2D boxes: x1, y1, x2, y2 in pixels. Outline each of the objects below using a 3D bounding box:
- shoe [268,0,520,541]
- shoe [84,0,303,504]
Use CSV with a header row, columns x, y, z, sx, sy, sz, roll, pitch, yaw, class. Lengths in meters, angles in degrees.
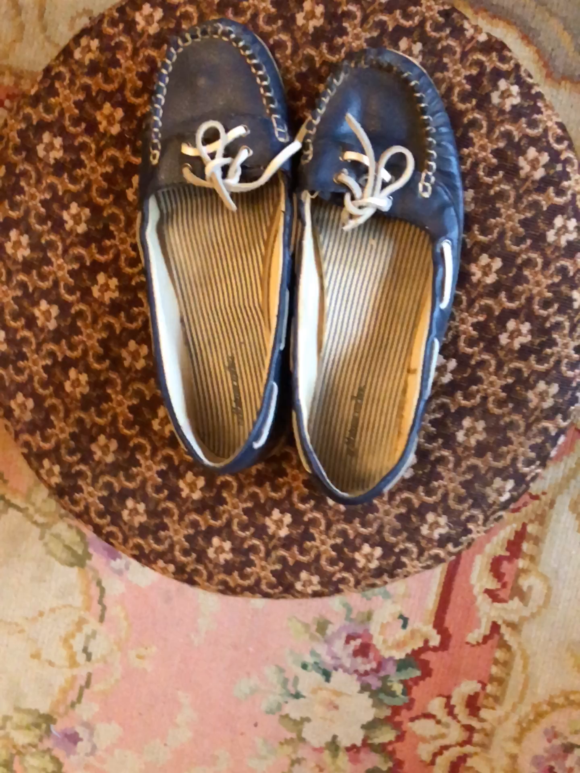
x,y,z,sx,sy,sz,roll,pitch,yaw,class
0.044,-0.058,0.343,0.090,0.100,0.250,4,100,-1,shoe
-0.045,-0.075,0.336,0.090,0.090,0.250,2,94,6,shoe
